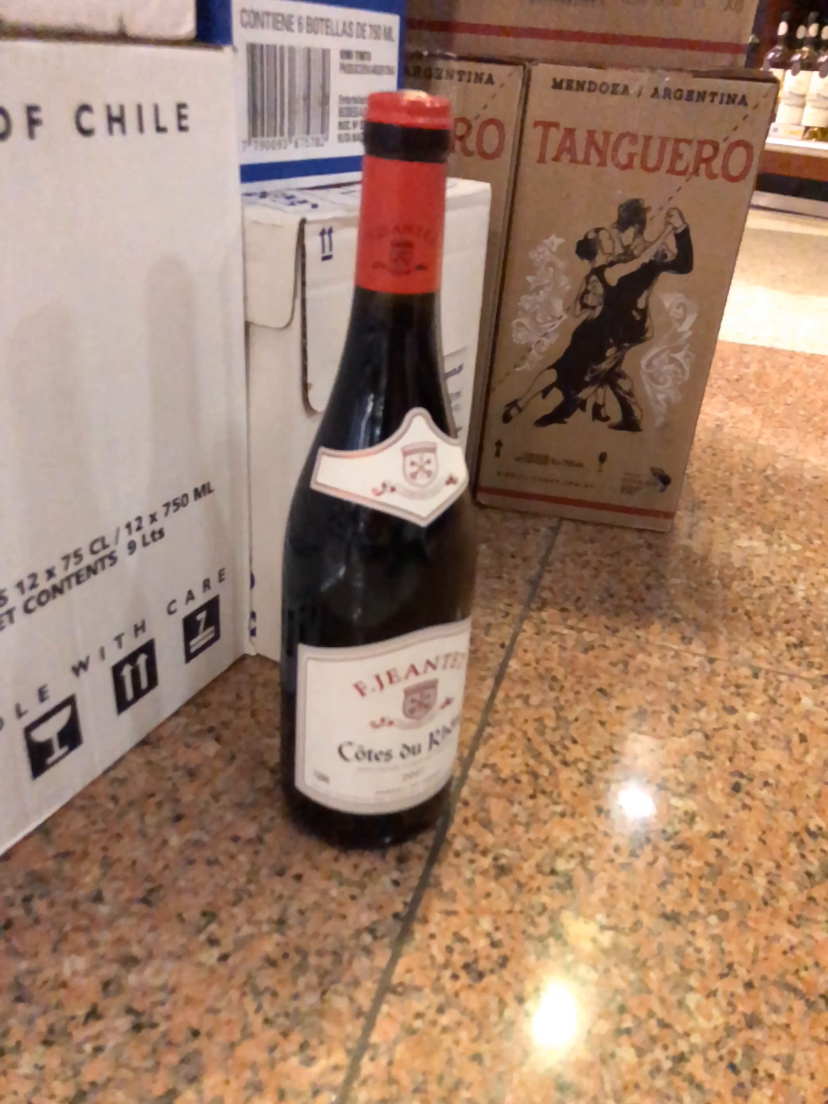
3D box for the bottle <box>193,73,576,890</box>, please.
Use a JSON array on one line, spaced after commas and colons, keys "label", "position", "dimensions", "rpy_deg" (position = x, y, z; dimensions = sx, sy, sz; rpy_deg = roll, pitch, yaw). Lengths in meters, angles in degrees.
[{"label": "bottle", "position": [-0.020, -0.017, 0.349], "dimensions": [0.090, 0.288, 0.080], "rpy_deg": [-15, 34, -31]}]
